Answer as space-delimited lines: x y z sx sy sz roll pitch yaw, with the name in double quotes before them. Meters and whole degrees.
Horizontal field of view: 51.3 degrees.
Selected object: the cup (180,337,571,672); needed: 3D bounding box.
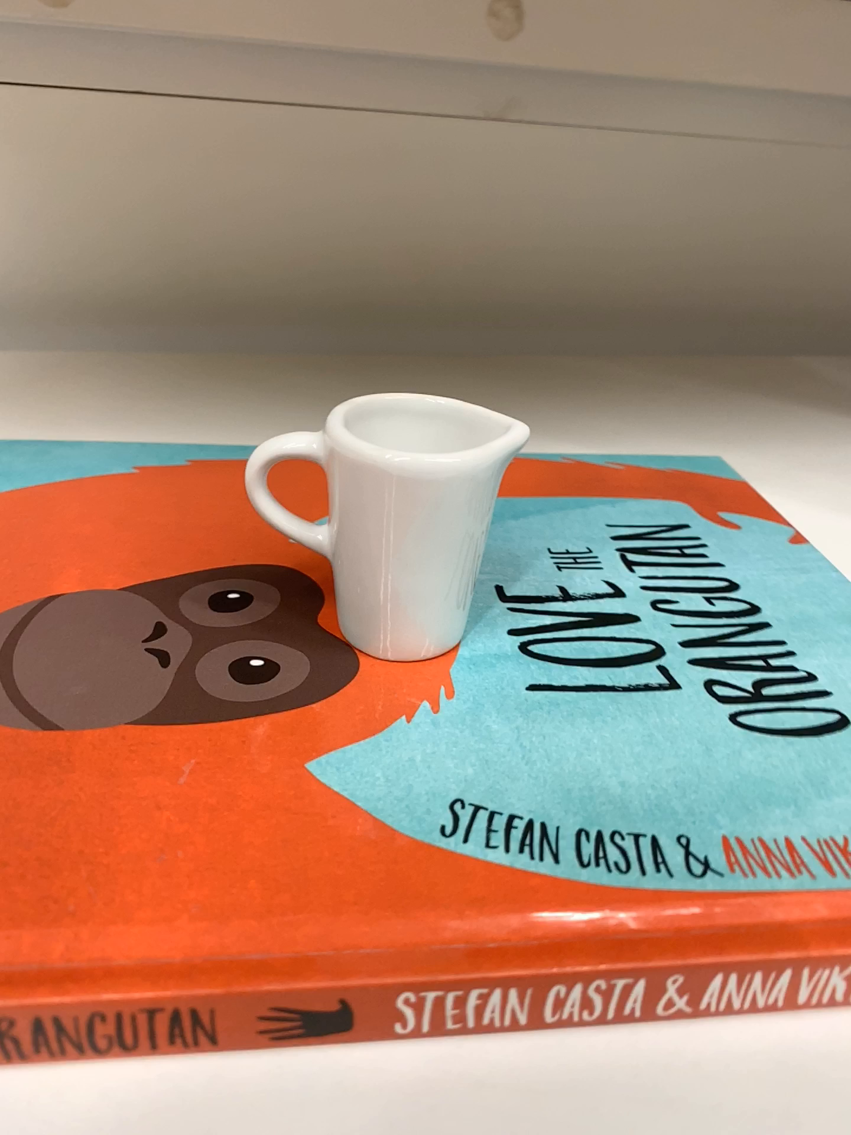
"cup" -0.010 -0.015 0.192 0.070 0.050 0.050 5 29 0
